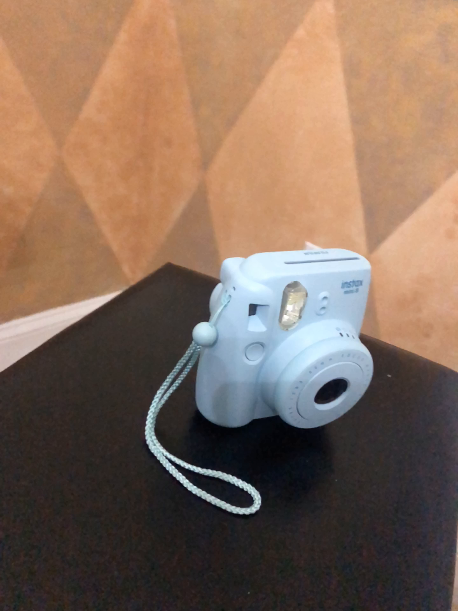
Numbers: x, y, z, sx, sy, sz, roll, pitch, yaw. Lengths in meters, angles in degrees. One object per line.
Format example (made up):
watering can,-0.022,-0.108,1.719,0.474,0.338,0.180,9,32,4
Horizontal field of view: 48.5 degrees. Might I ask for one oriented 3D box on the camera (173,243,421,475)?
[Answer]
camera,0.038,0.030,0.332,0.120,0.118,0.068,-6,34,-26
